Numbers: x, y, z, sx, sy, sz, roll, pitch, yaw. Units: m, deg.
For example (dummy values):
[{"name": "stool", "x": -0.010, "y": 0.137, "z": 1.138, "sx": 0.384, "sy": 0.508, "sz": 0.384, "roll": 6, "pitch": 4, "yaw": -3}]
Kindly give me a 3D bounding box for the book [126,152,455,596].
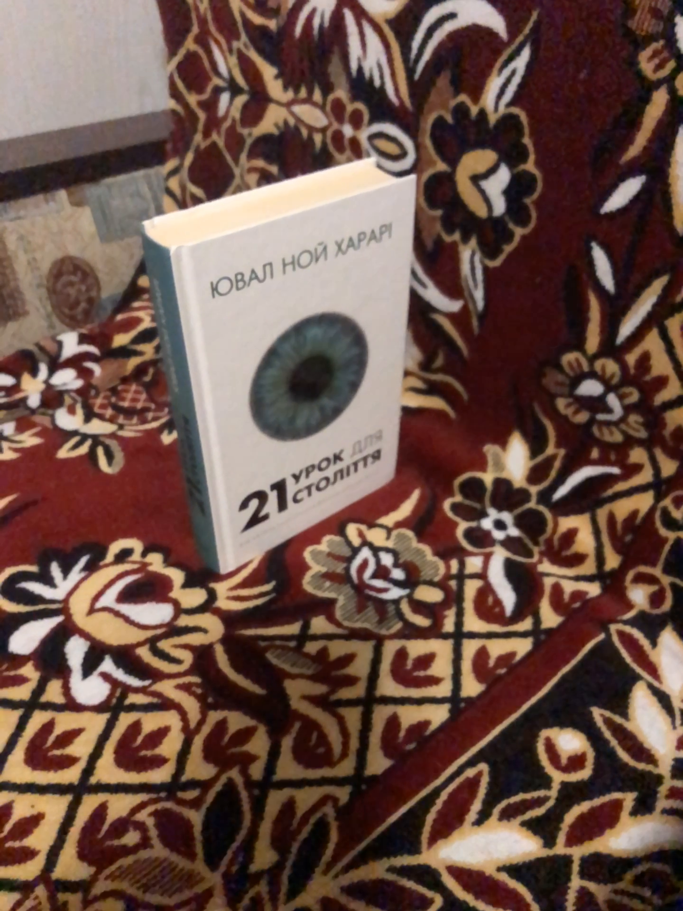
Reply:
[{"name": "book", "x": -0.021, "y": -0.039, "z": 0.416, "sx": 0.153, "sy": 0.211, "sz": 0.040, "roll": -23, "pitch": 45, "yaw": -27}]
